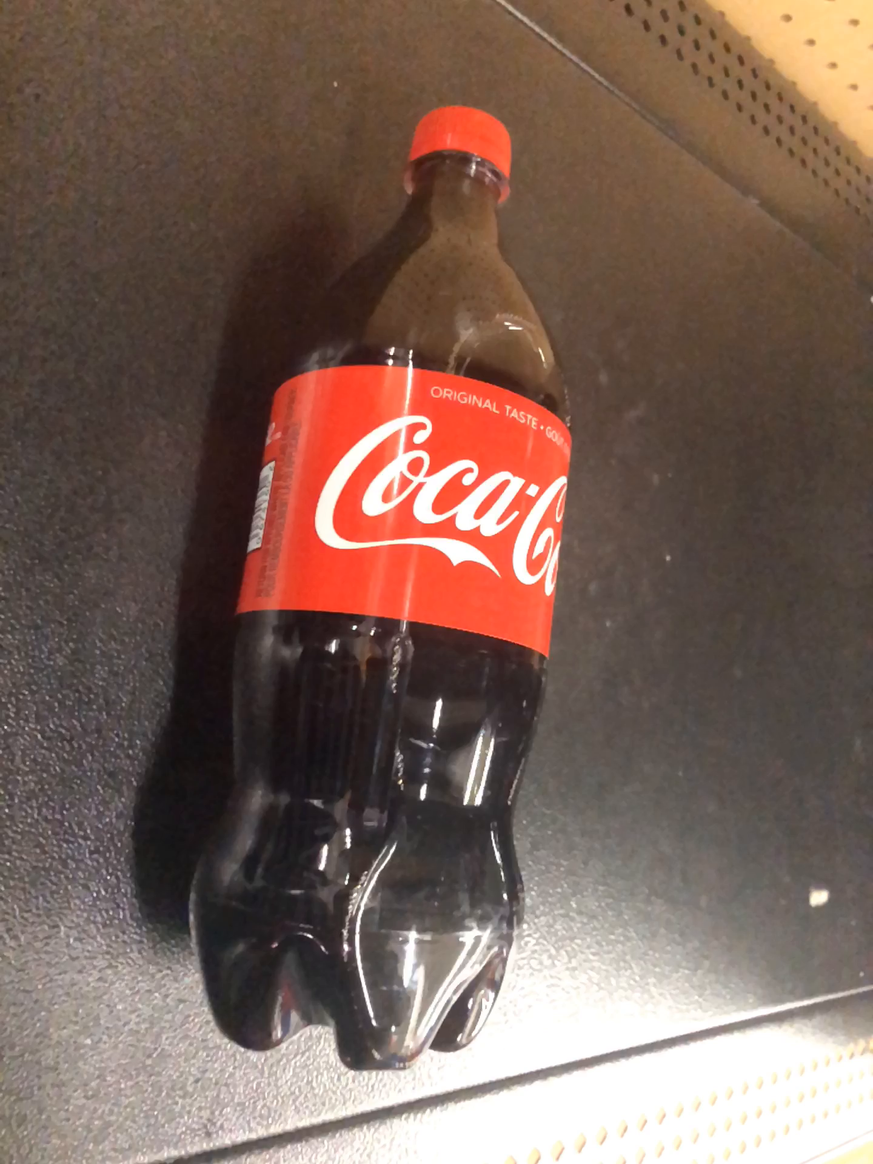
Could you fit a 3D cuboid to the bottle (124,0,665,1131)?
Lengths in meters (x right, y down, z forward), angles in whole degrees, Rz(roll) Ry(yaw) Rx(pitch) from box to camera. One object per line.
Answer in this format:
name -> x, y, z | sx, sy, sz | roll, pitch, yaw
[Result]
bottle -> -0.007, -0.009, 0.268 | 0.080, 0.080, 0.260 | 16, 77, -40
